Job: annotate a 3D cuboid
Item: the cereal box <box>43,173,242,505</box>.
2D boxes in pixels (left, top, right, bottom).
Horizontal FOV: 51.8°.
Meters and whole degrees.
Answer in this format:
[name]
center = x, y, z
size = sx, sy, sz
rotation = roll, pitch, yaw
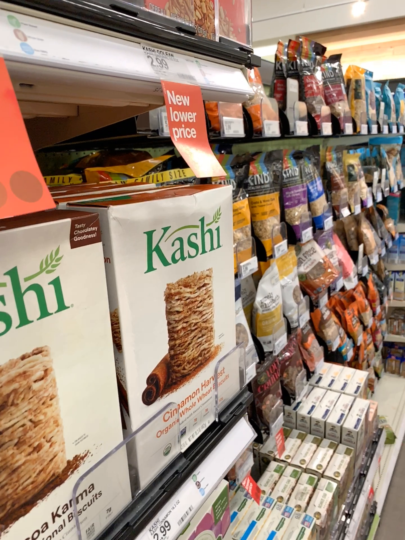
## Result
[cereal box]
center = -0.041, 0.049, 0.435
size = 0.070, 0.279, 0.190
rotation = 6, 18, 33
